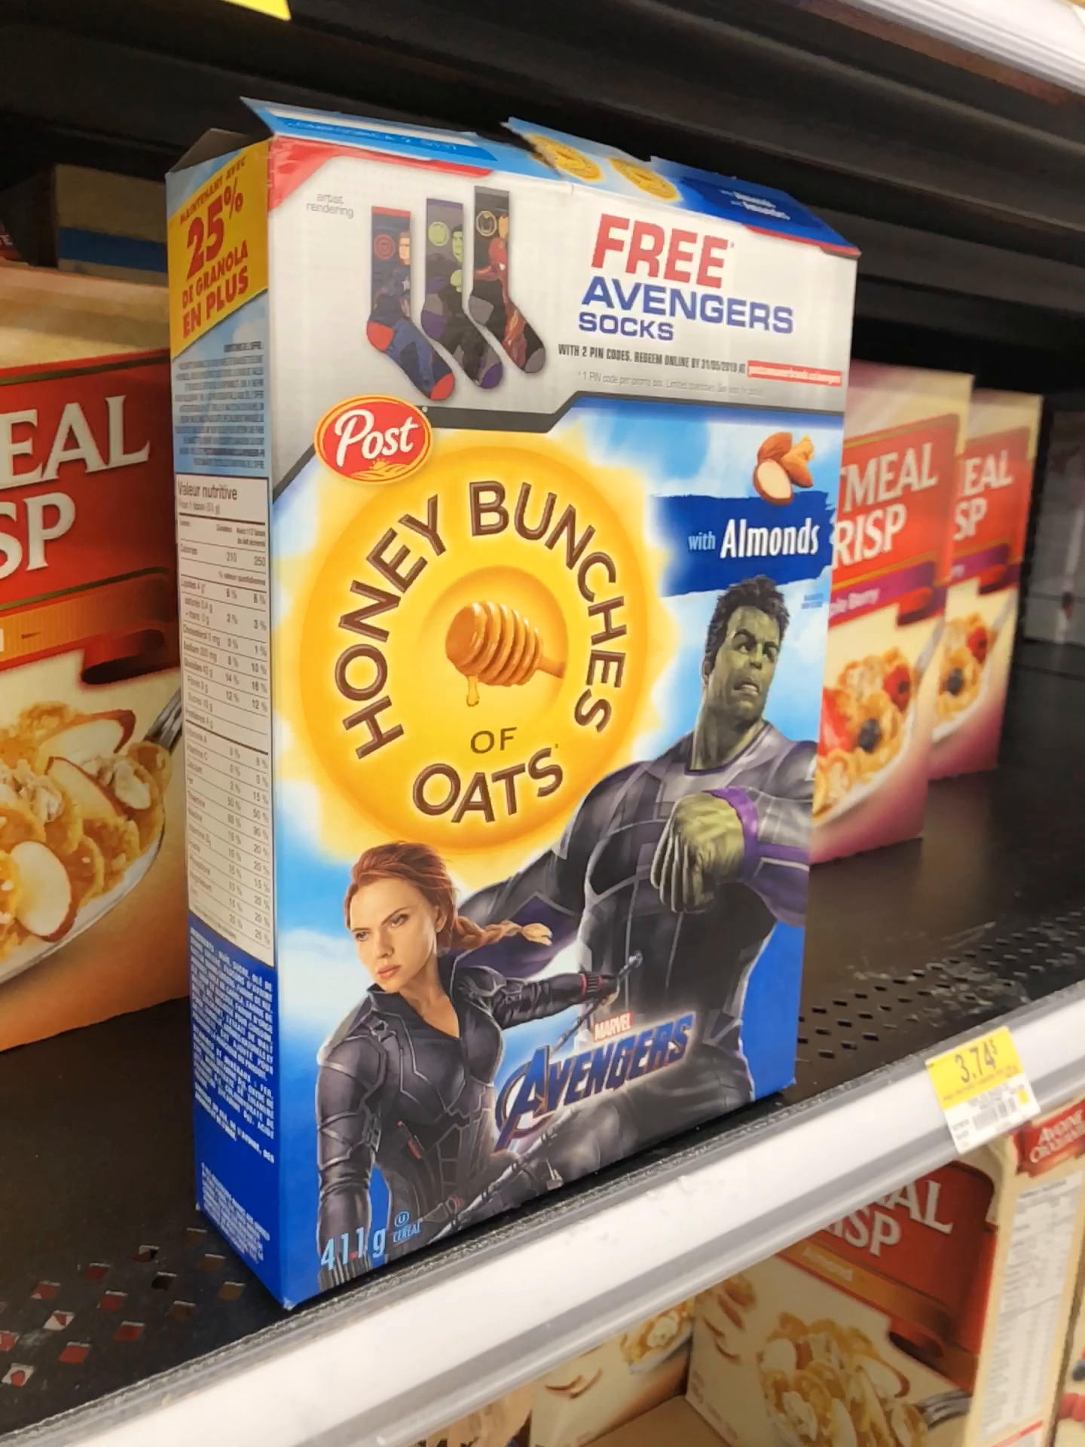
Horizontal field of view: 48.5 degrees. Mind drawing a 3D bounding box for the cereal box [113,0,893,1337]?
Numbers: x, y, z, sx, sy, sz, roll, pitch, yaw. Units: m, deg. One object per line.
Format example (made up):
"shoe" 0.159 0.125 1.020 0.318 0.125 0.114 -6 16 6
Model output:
"cereal box" -0.007 -0.012 0.344 0.200 0.289 0.070 -7 16 -38
